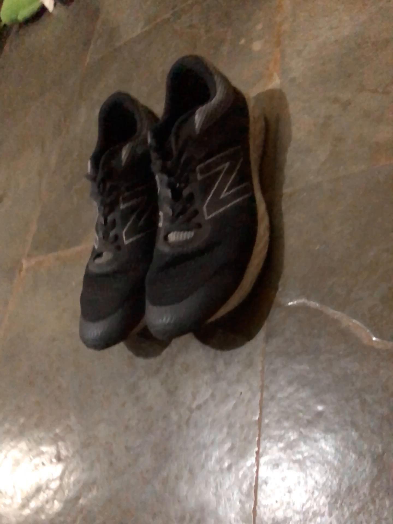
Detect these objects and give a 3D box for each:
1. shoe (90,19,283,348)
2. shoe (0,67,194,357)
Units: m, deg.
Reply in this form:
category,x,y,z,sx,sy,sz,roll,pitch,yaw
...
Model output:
category,x,y,z,sx,sy,sz,roll,pitch,yaw
shoe,0.002,-0.069,0.393,0.110,0.099,0.261,-15,57,32
shoe,-0.089,-0.049,0.450,0.120,0.099,0.261,-15,57,32
